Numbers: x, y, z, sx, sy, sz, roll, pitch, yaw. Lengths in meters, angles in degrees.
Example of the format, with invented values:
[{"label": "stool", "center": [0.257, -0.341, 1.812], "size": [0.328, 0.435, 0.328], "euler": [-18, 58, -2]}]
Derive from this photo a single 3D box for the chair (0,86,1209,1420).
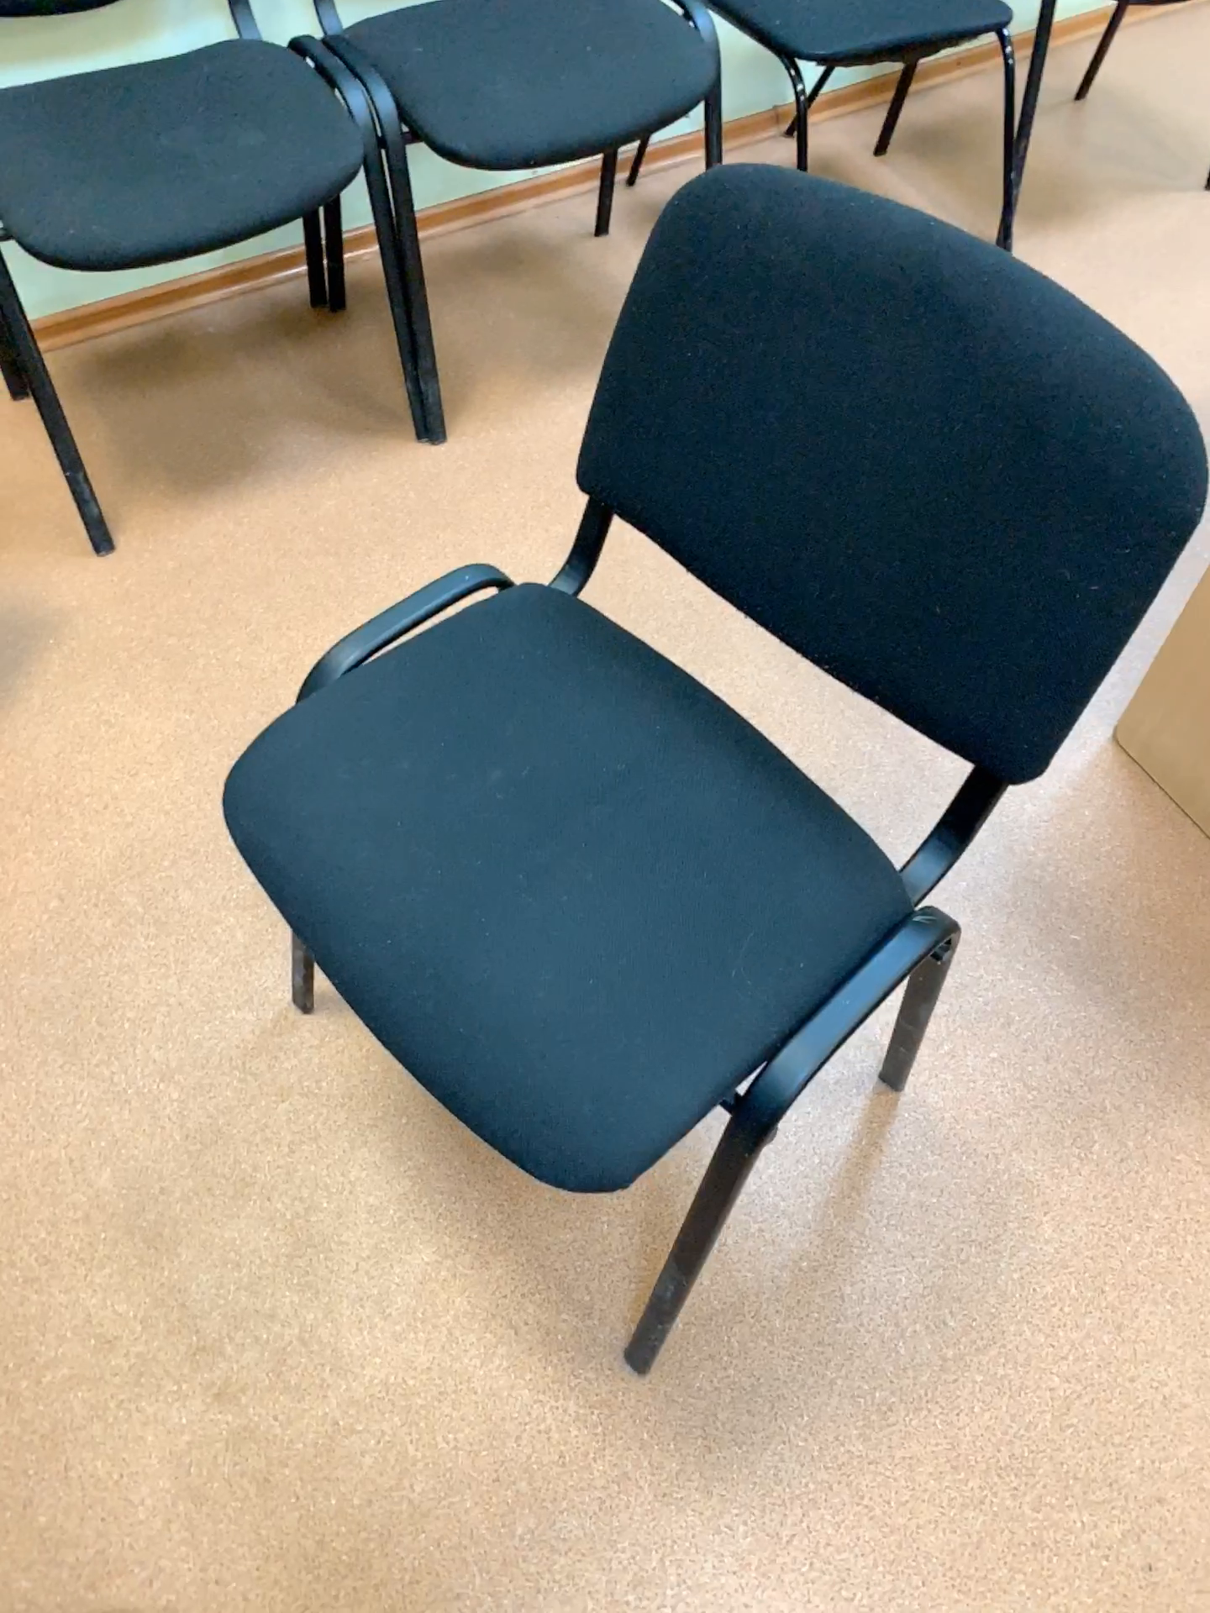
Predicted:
[{"label": "chair", "center": [0.035, -0.002, 1.043], "size": [0.592, 0.785, 0.575], "euler": [-37, 64, -24]}]
